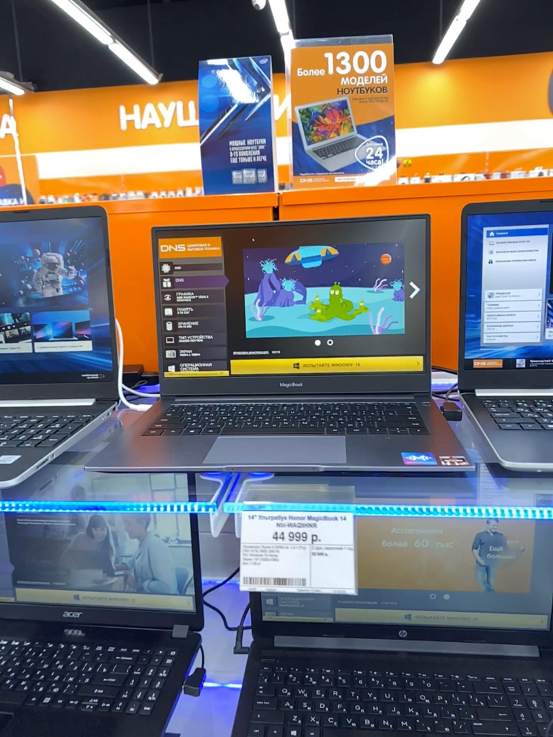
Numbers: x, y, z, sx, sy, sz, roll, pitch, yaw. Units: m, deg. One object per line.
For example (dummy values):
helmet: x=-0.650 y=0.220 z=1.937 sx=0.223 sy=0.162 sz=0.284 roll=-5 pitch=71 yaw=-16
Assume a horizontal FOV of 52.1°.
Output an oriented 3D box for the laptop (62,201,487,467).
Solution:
laptop: x=0.008 y=-0.044 z=0.562 sx=0.323 sy=0.203 sz=0.238 roll=-1 pitch=12 yaw=6
